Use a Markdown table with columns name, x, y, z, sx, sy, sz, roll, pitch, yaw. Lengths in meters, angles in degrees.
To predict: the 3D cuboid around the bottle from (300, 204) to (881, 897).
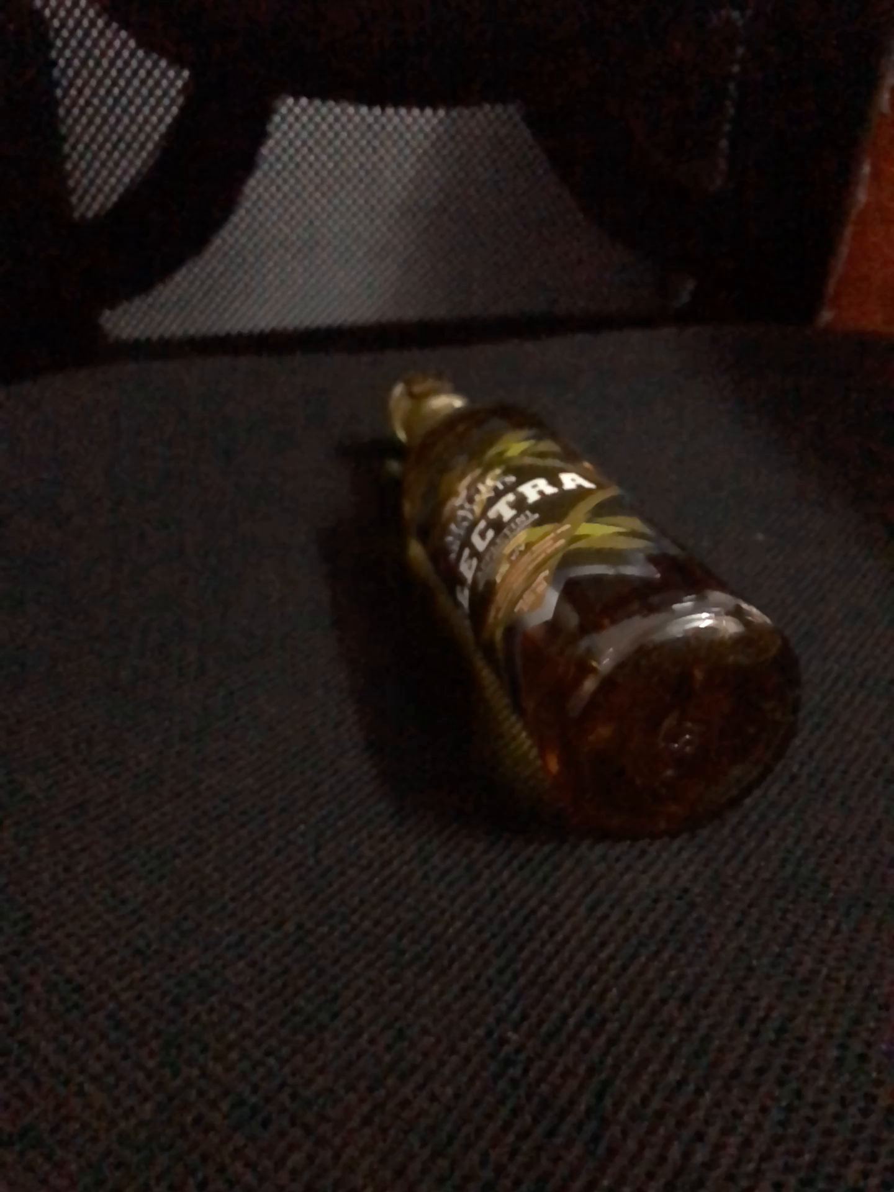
| name | x | y | z | sx | sy | sz | roll | pitch | yaw |
| --- | --- | --- | --- | --- | --- | --- | --- | --- | --- |
| bottle | 0.017 | -0.038 | 0.281 | 0.070 | 0.060 | 0.231 | -15 | 40 | -8 |
